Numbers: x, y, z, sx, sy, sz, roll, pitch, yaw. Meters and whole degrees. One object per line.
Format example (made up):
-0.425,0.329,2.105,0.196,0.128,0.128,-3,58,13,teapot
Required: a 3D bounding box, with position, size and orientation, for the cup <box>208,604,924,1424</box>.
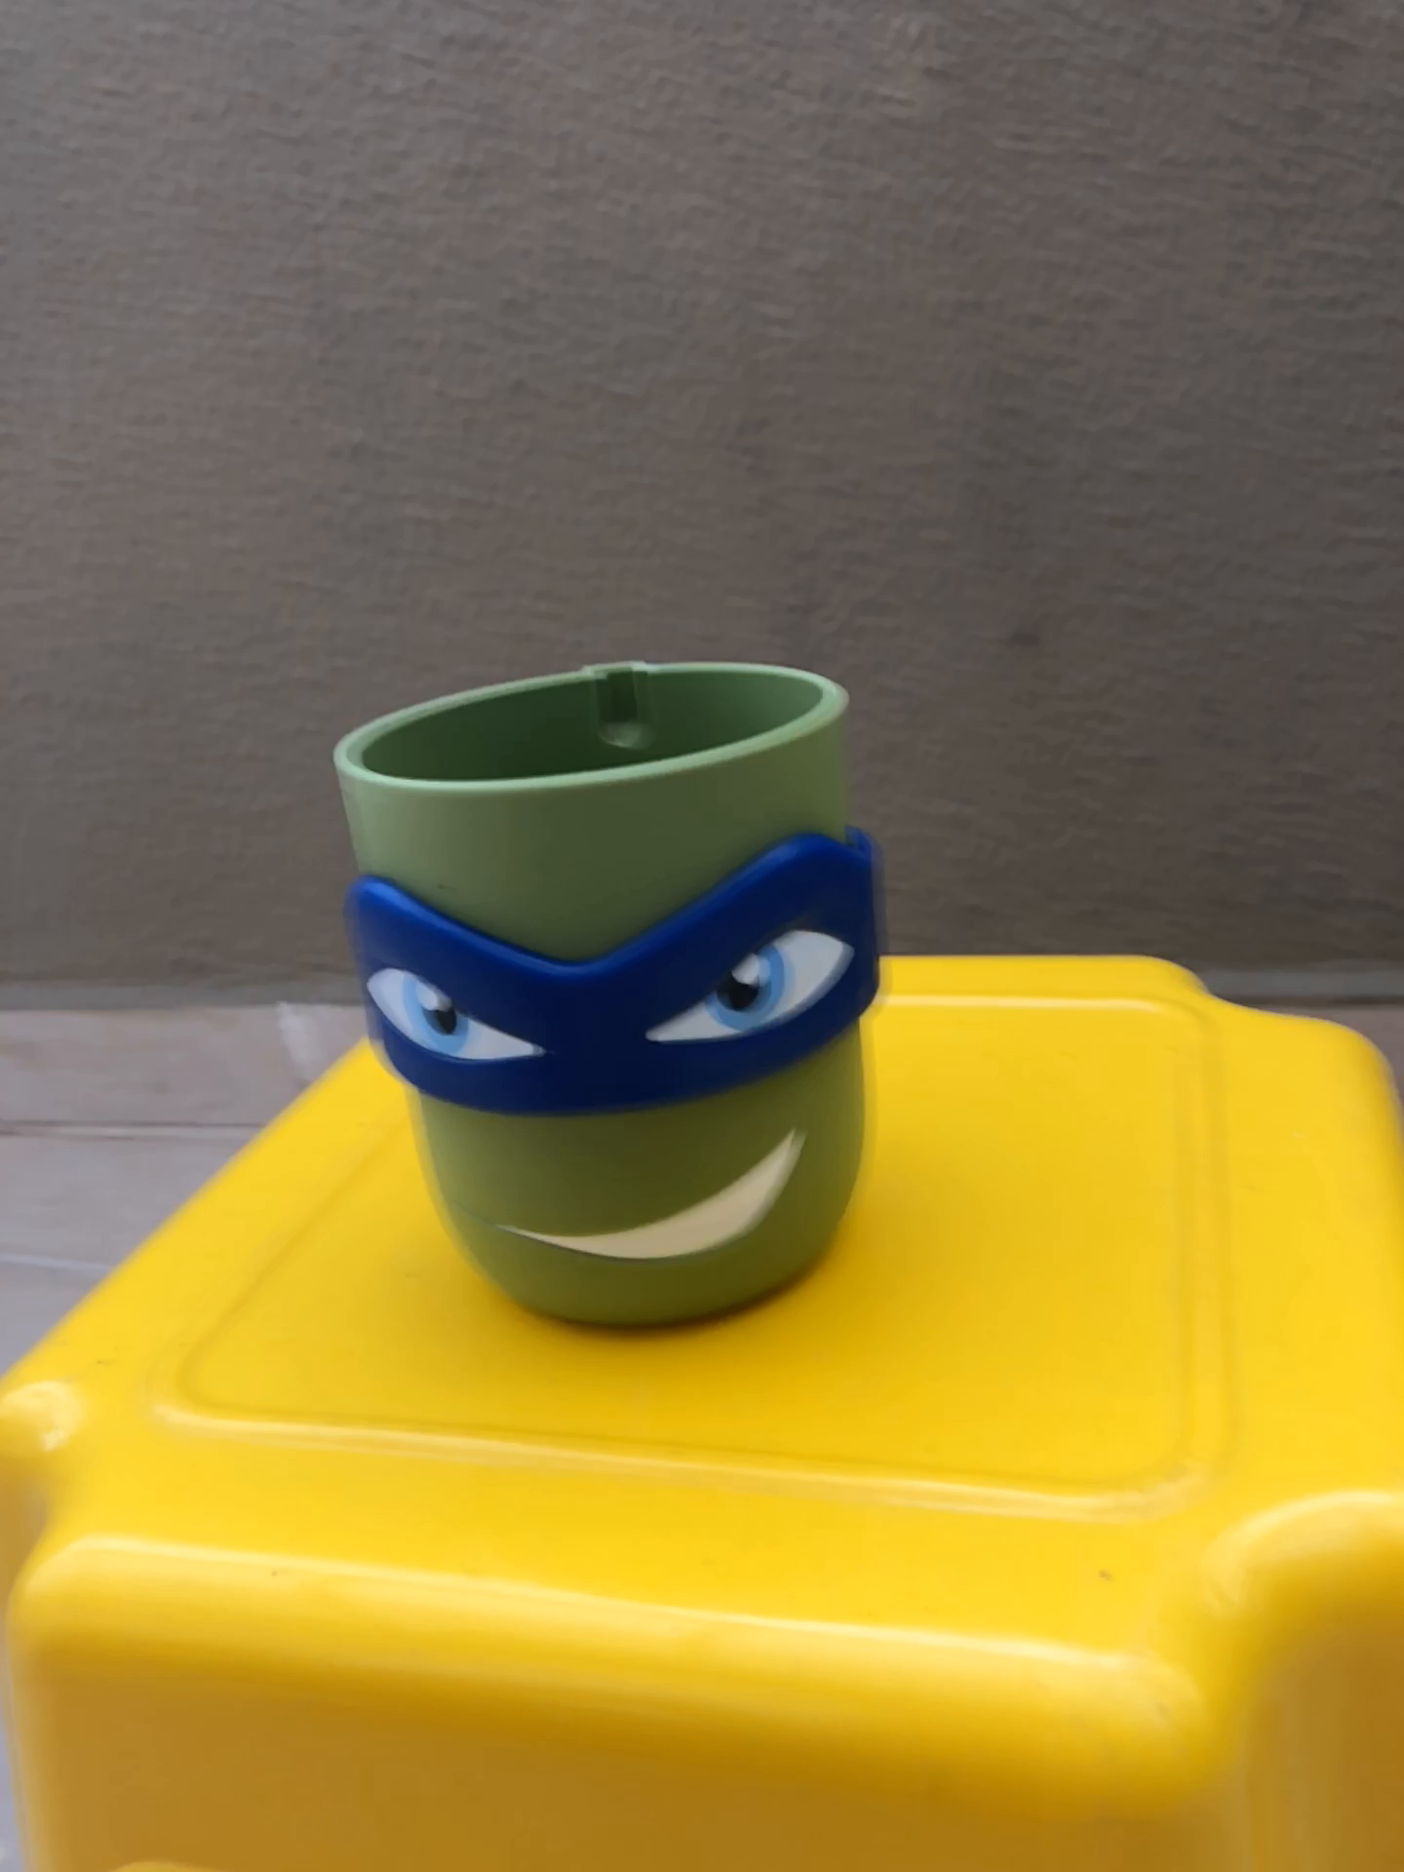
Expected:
-0.011,0.004,0.253,0.080,0.090,0.111,-5,19,7,cup
